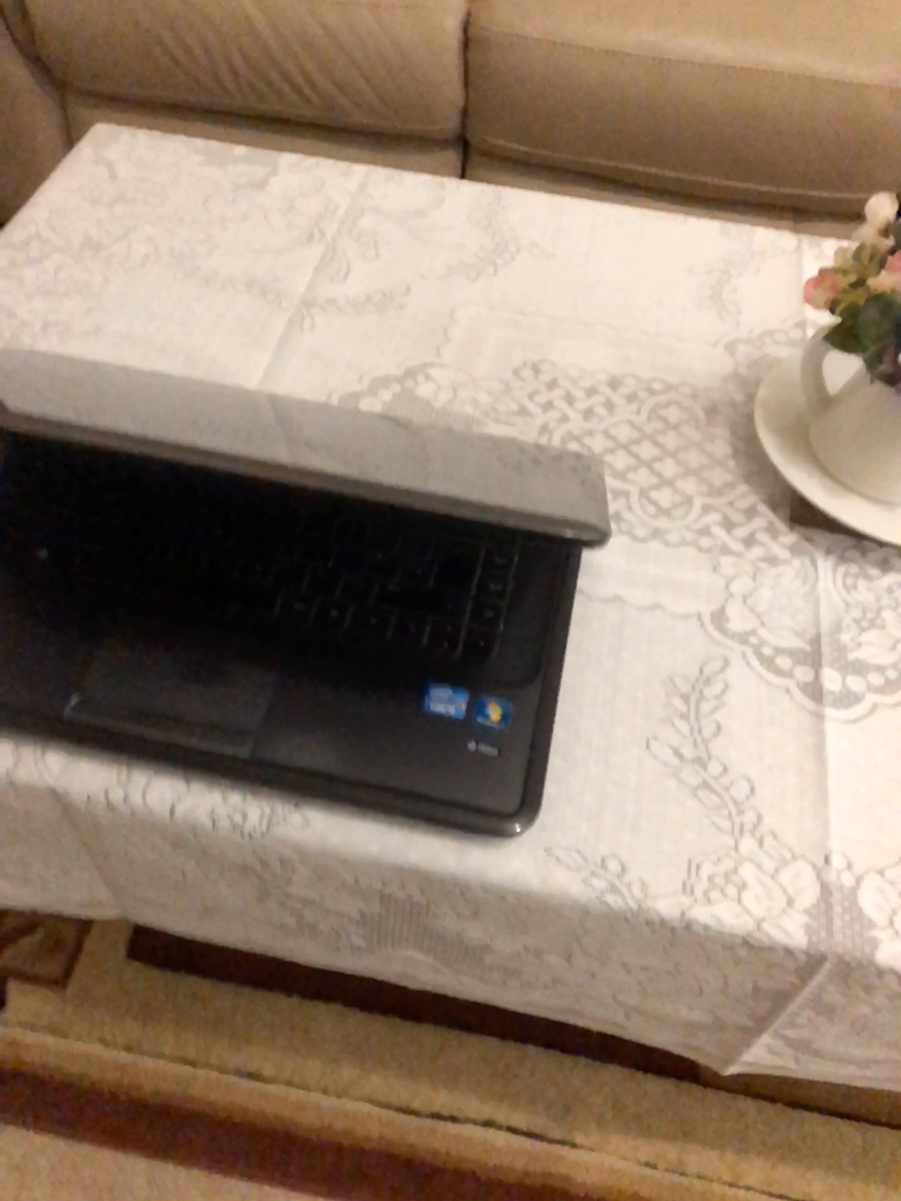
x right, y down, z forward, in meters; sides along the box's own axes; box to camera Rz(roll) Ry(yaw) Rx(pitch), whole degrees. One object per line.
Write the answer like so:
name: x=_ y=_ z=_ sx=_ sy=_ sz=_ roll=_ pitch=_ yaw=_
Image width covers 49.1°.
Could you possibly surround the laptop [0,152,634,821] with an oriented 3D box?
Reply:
laptop: x=-0.112 y=-0.068 z=0.490 sx=0.360 sy=0.139 sz=0.238 roll=11 pitch=53 yaw=5
